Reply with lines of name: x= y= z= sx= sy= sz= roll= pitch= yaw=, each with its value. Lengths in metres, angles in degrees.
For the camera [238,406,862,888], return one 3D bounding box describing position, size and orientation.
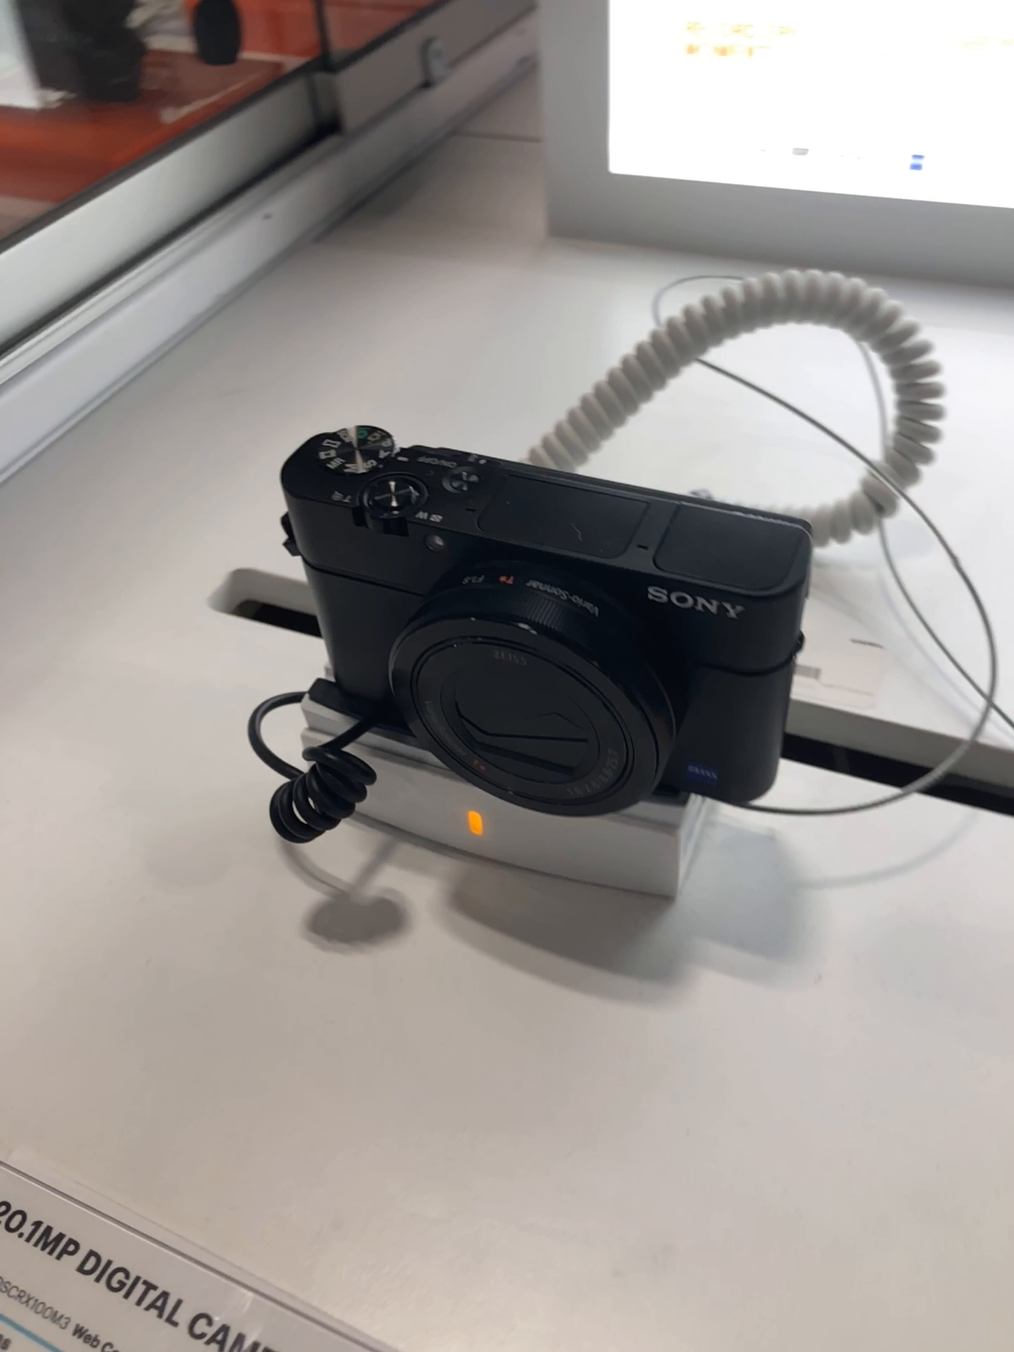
camera: x=0.007 y=-0.007 z=0.228 sx=0.110 sy=0.070 sz=0.030 roll=15 pitch=47 yaw=20
